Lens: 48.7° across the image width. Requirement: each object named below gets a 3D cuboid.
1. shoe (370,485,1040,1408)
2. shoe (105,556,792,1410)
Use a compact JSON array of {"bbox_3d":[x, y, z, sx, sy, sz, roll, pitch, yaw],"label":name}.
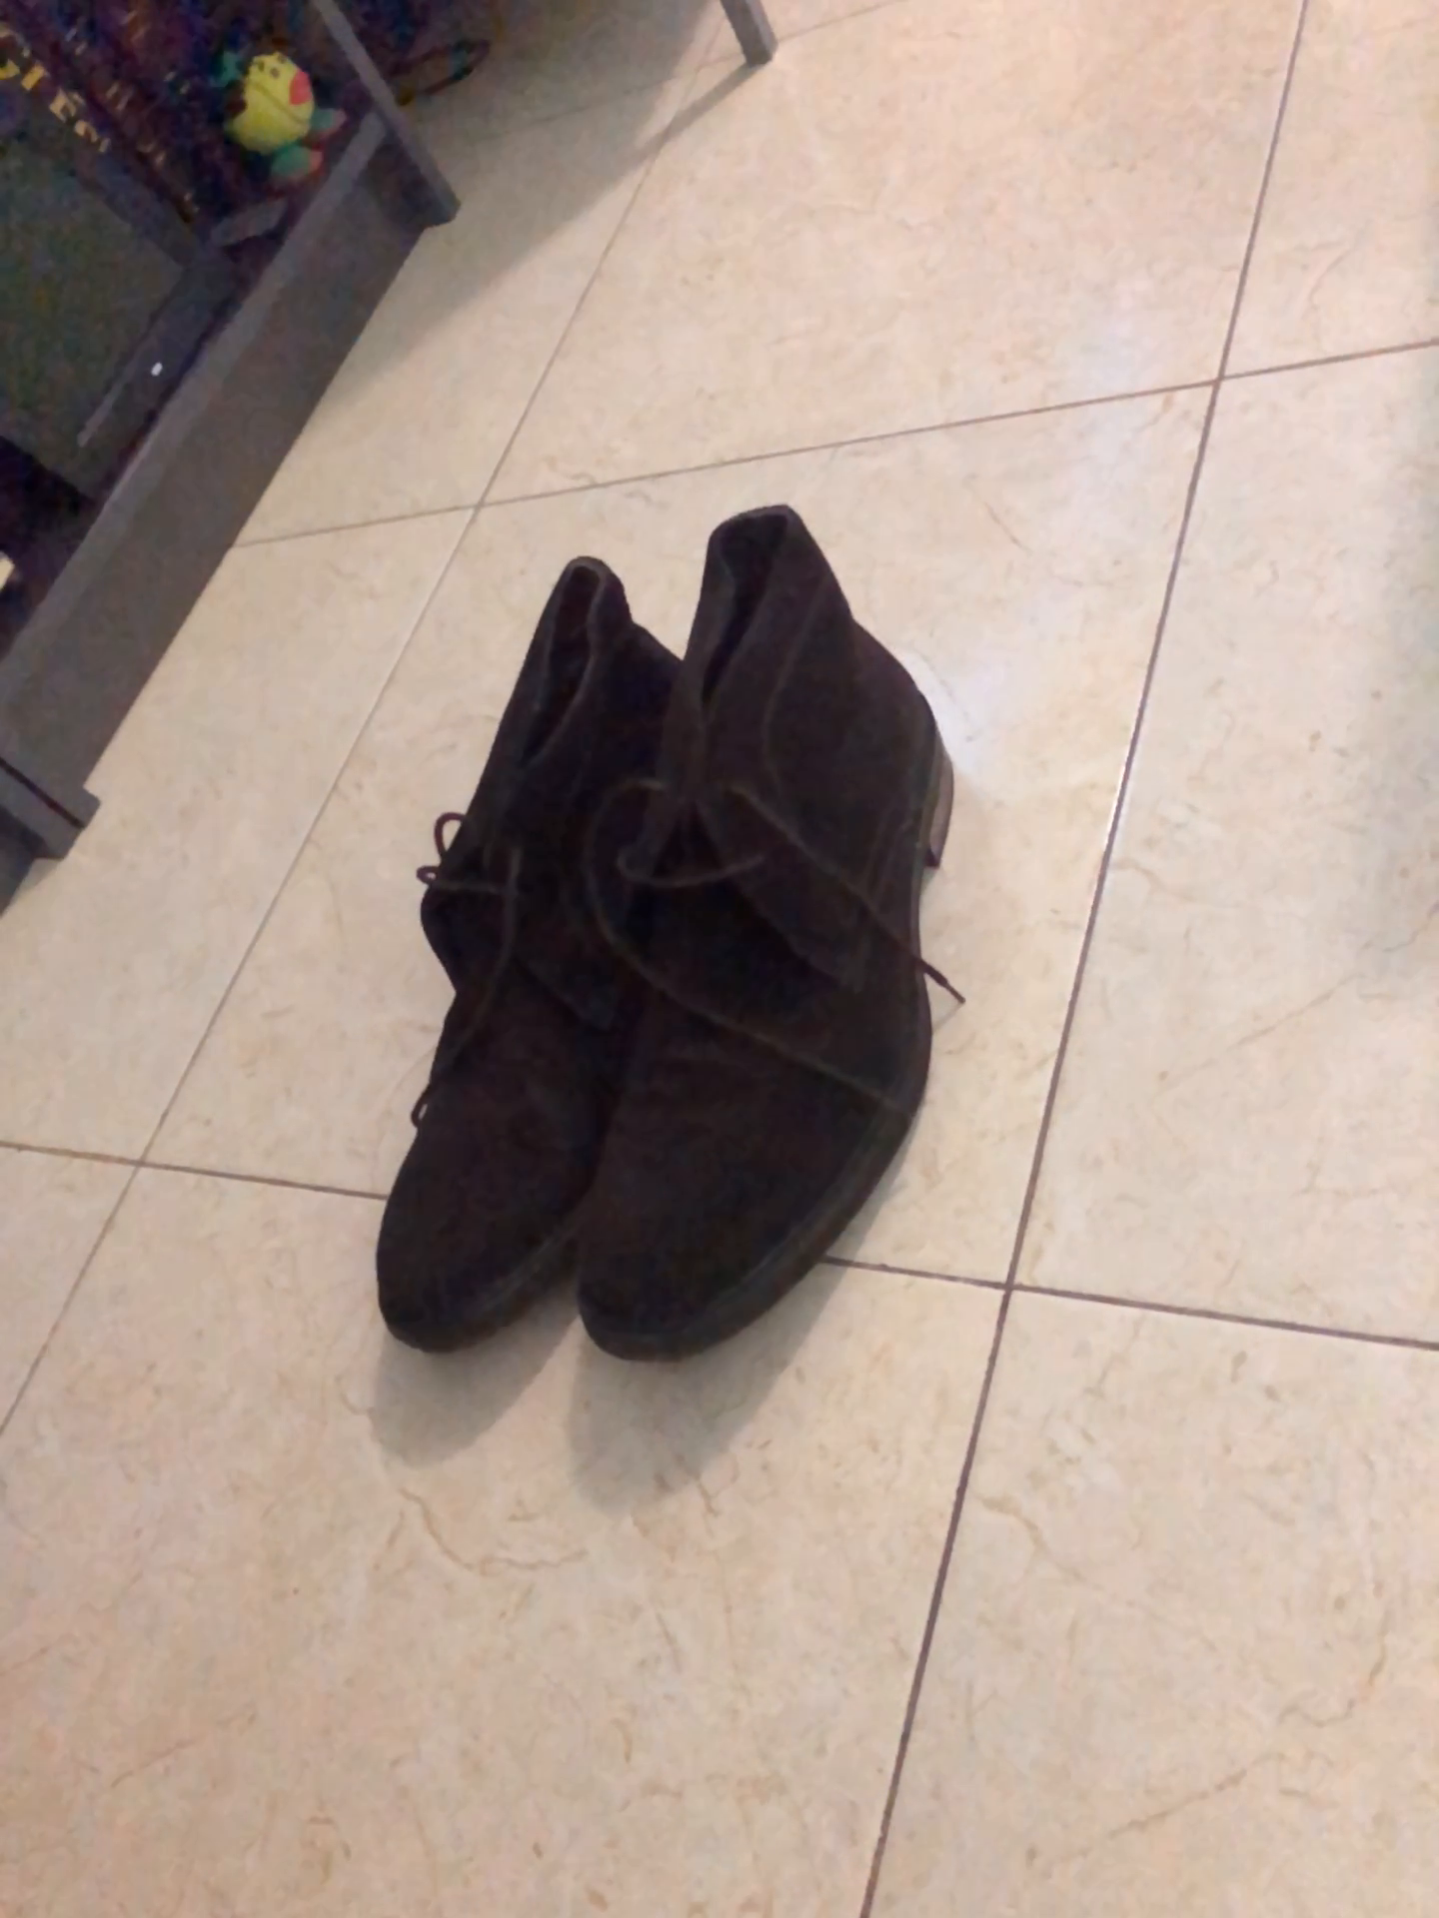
[{"bbox_3d":[0.012,-0.011,0.595,0.110,0.139,0.300,2,59,33],"label":"shoe"},{"bbox_3d":[-0.090,0.002,0.631,0.110,0.129,0.300,2,59,33],"label":"shoe"}]
